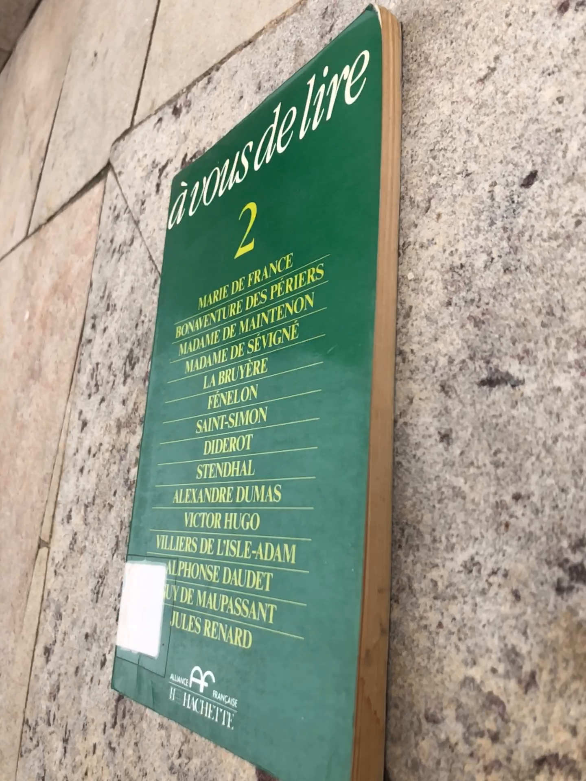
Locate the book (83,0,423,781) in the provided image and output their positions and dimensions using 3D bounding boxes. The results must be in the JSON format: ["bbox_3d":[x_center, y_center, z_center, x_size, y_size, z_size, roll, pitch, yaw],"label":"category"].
[{"bbox_3d":[-0.020,0.000,0.218,0.141,0.017,0.210,-14,66,52],"label":"book"}]
